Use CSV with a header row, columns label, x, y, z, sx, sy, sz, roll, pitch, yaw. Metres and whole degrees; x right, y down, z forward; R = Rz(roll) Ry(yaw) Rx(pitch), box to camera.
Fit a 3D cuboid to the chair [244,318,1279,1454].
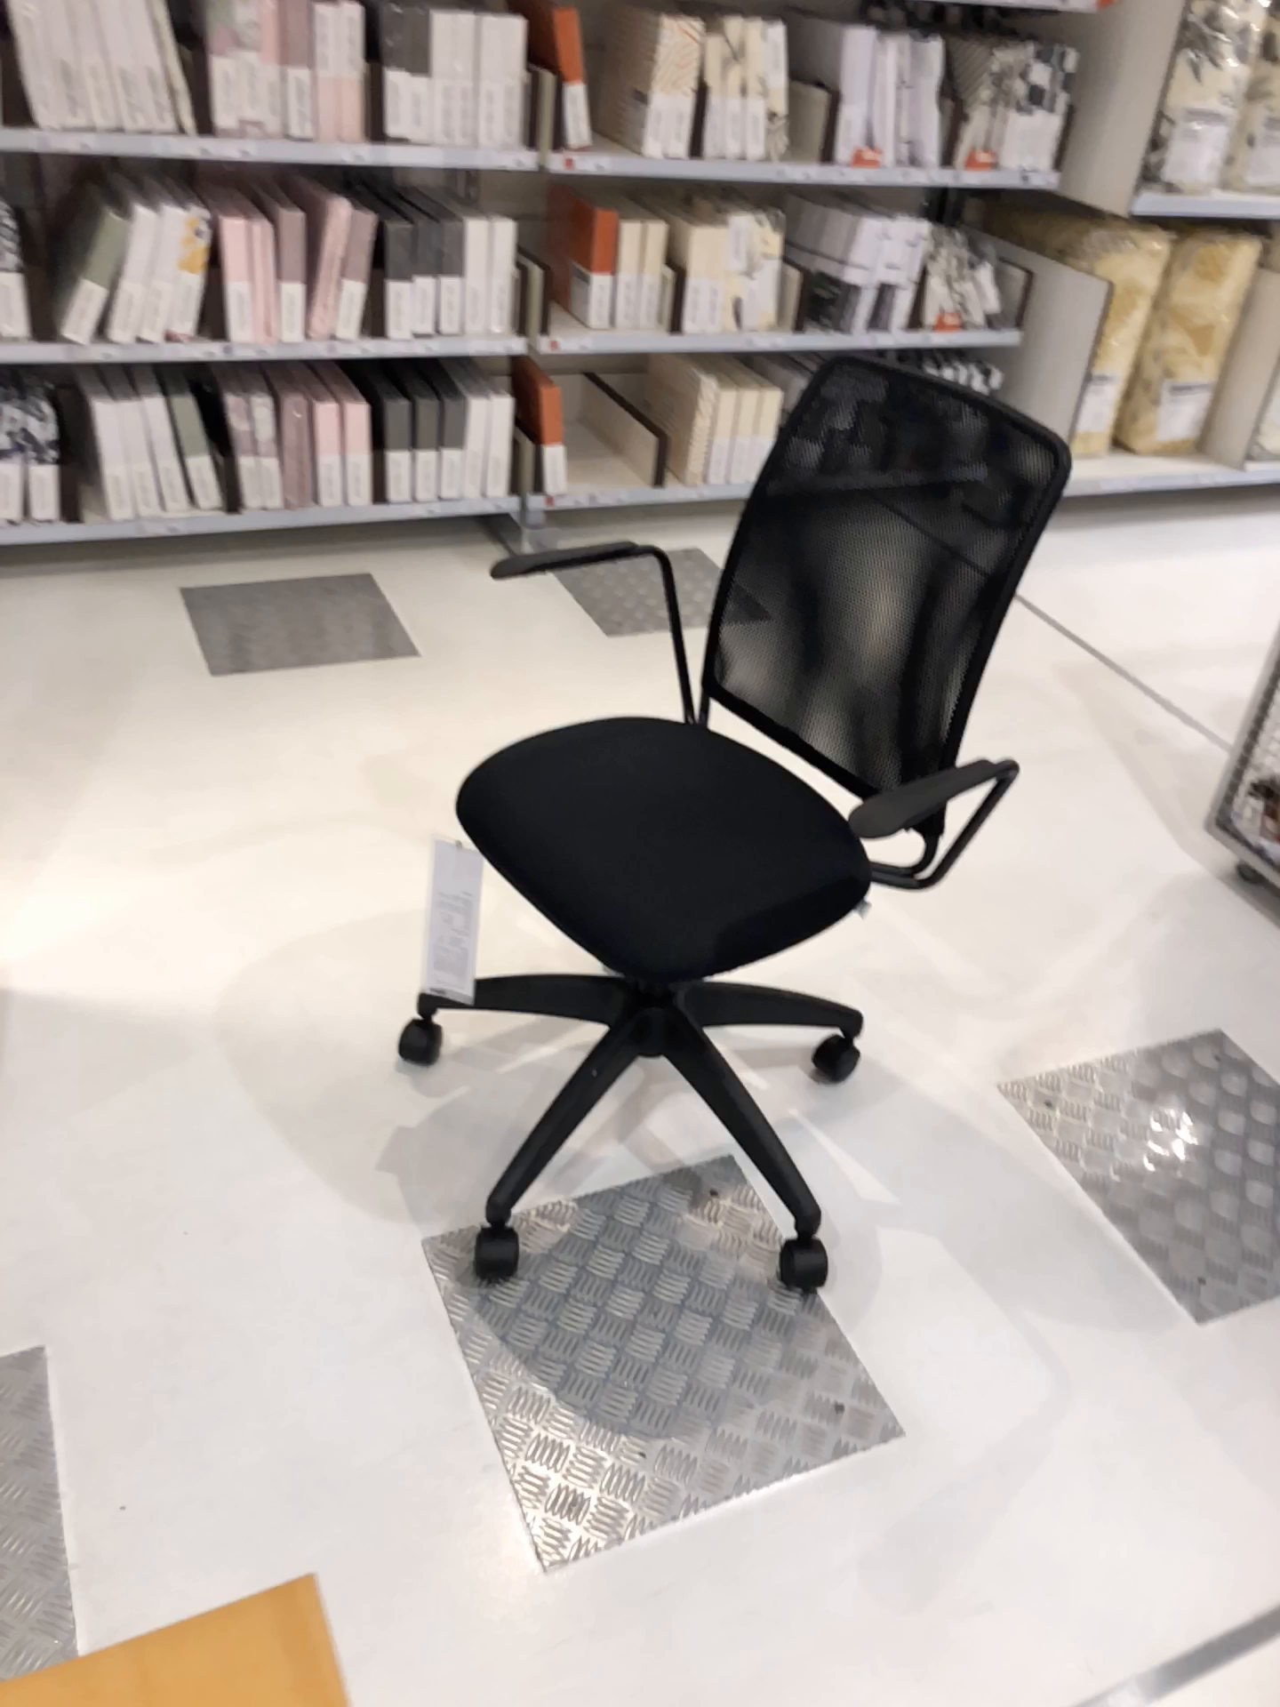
label,x,y,z,sx,sy,sz,roll,pitch,yaw
chair,0.073,-0.031,1.475,0.693,0.813,0.633,-20,42,-34
